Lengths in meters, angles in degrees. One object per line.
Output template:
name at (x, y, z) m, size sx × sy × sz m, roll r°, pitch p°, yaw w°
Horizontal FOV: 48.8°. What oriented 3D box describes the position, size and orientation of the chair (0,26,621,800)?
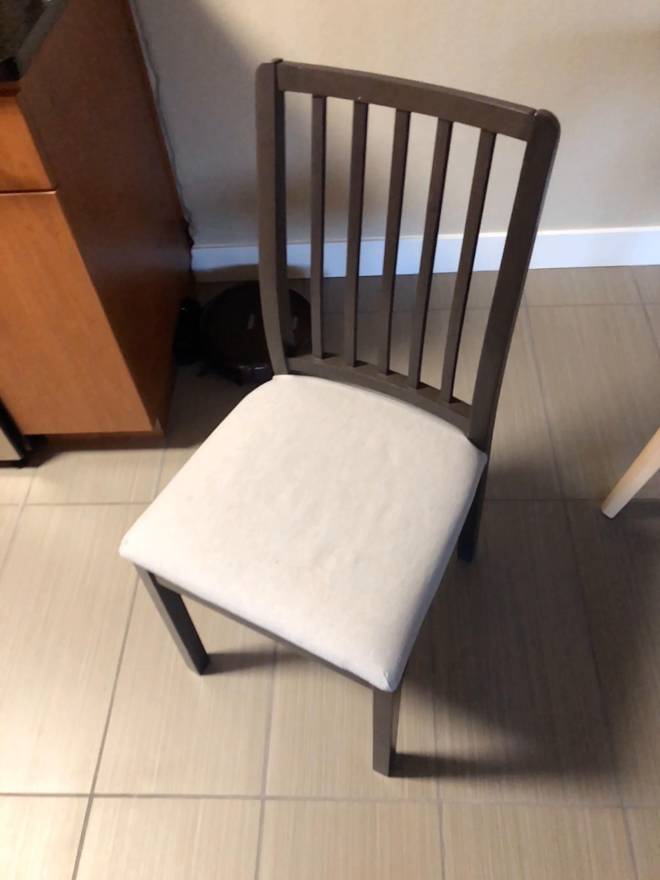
chair at (0.009, 0.071, 1.178) m, size 0.481 × 1.125 × 0.511 m, roll 24°, pitch 57°, yaw 22°
